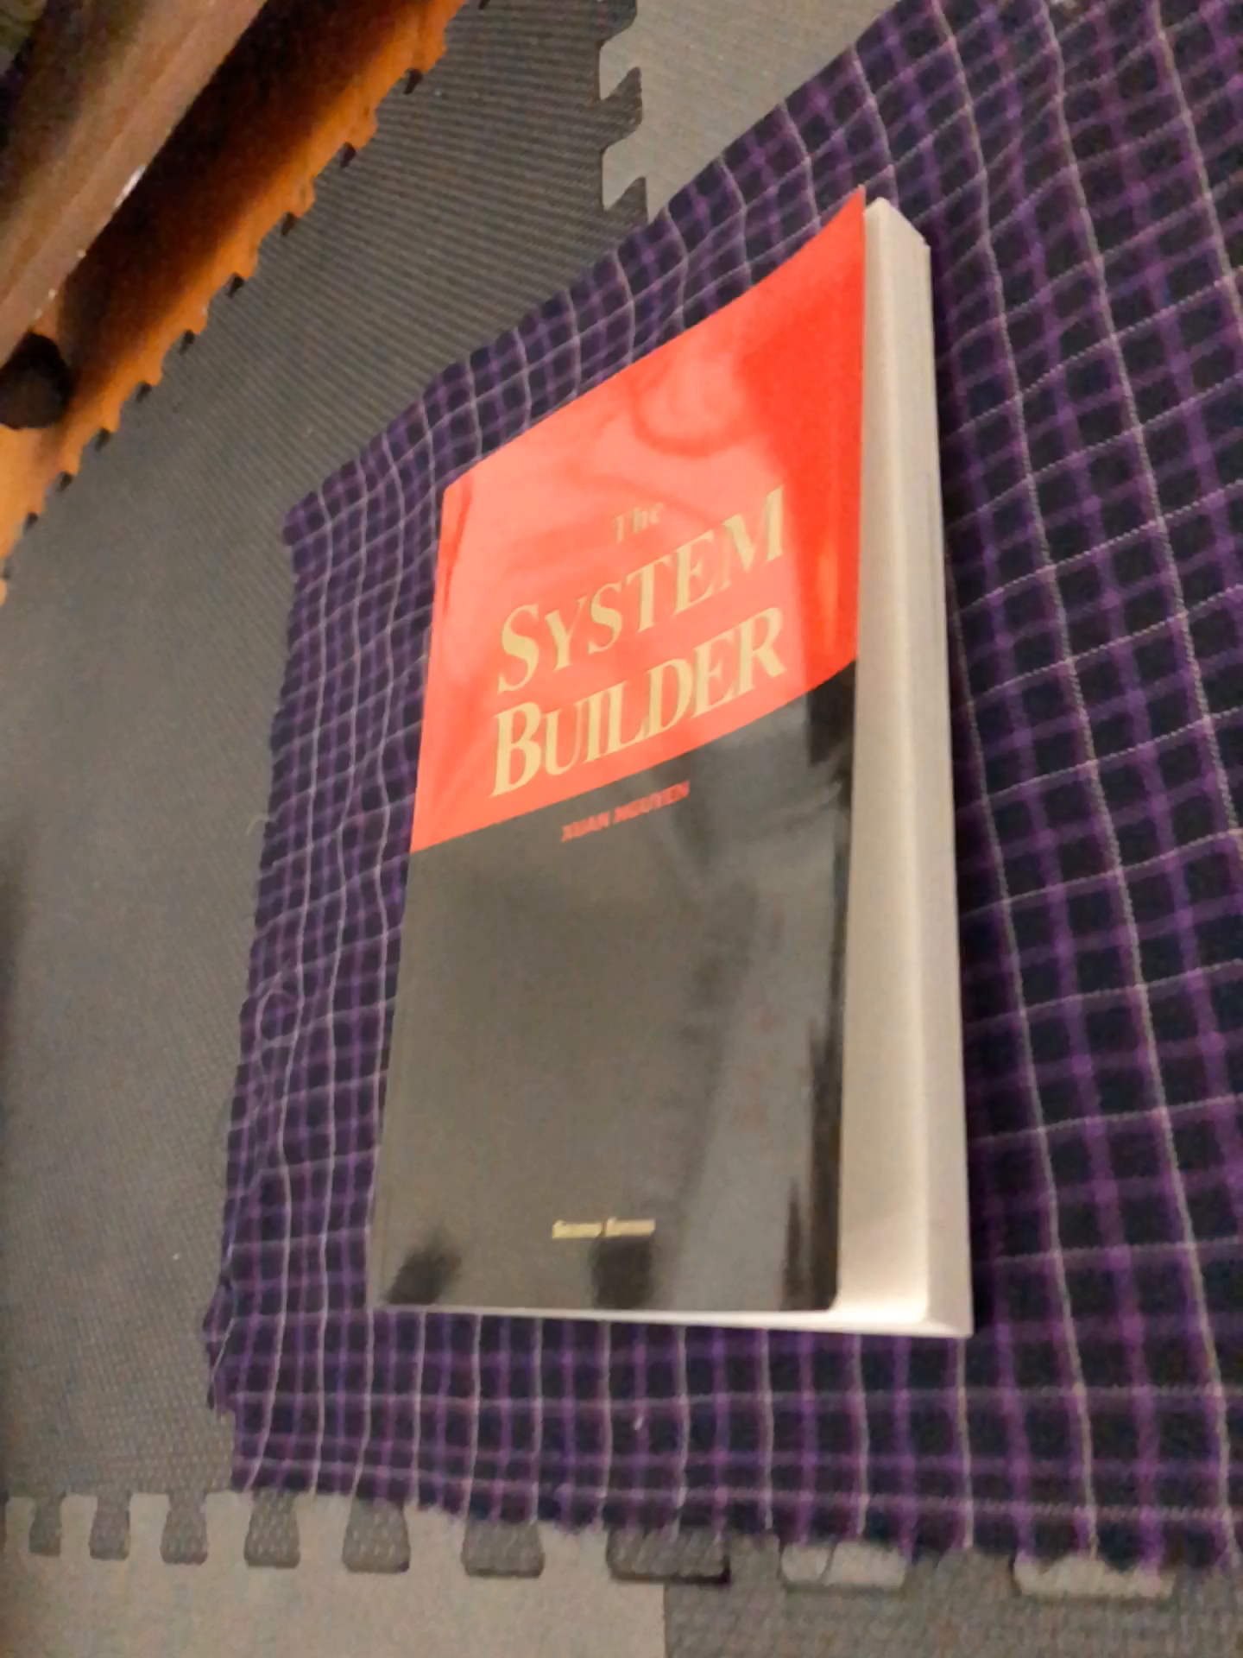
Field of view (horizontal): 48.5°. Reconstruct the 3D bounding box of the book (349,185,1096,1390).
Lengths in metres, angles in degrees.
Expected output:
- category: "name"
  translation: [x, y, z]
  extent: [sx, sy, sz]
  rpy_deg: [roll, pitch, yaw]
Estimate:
- category: "book"
  translation: [0.012, -0.002, 0.355]
  extent: [0.201, 0.030, 0.260]
  rpy_deg: [-18, 61, 44]
